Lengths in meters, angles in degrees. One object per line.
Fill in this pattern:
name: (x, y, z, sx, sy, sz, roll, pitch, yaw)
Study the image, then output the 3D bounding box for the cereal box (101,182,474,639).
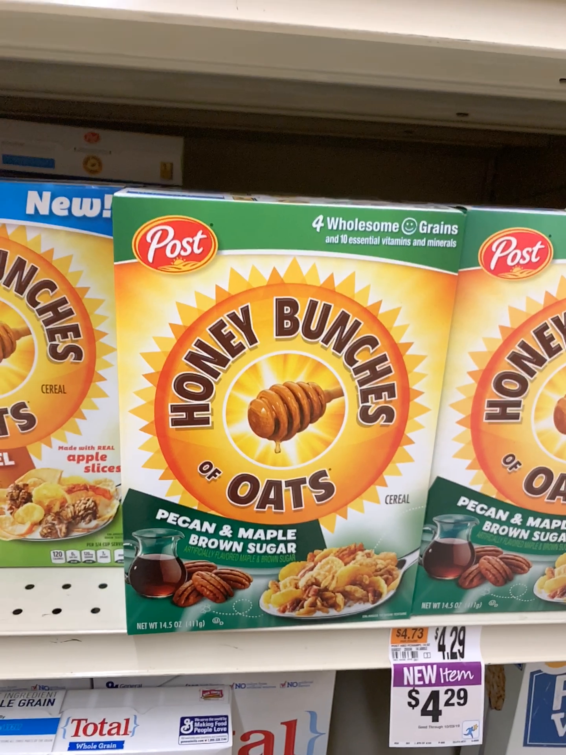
cereal box: (-0.005, 0.026, 0.379, 0.200, 0.279, 0.060, 0, 18, -10)
